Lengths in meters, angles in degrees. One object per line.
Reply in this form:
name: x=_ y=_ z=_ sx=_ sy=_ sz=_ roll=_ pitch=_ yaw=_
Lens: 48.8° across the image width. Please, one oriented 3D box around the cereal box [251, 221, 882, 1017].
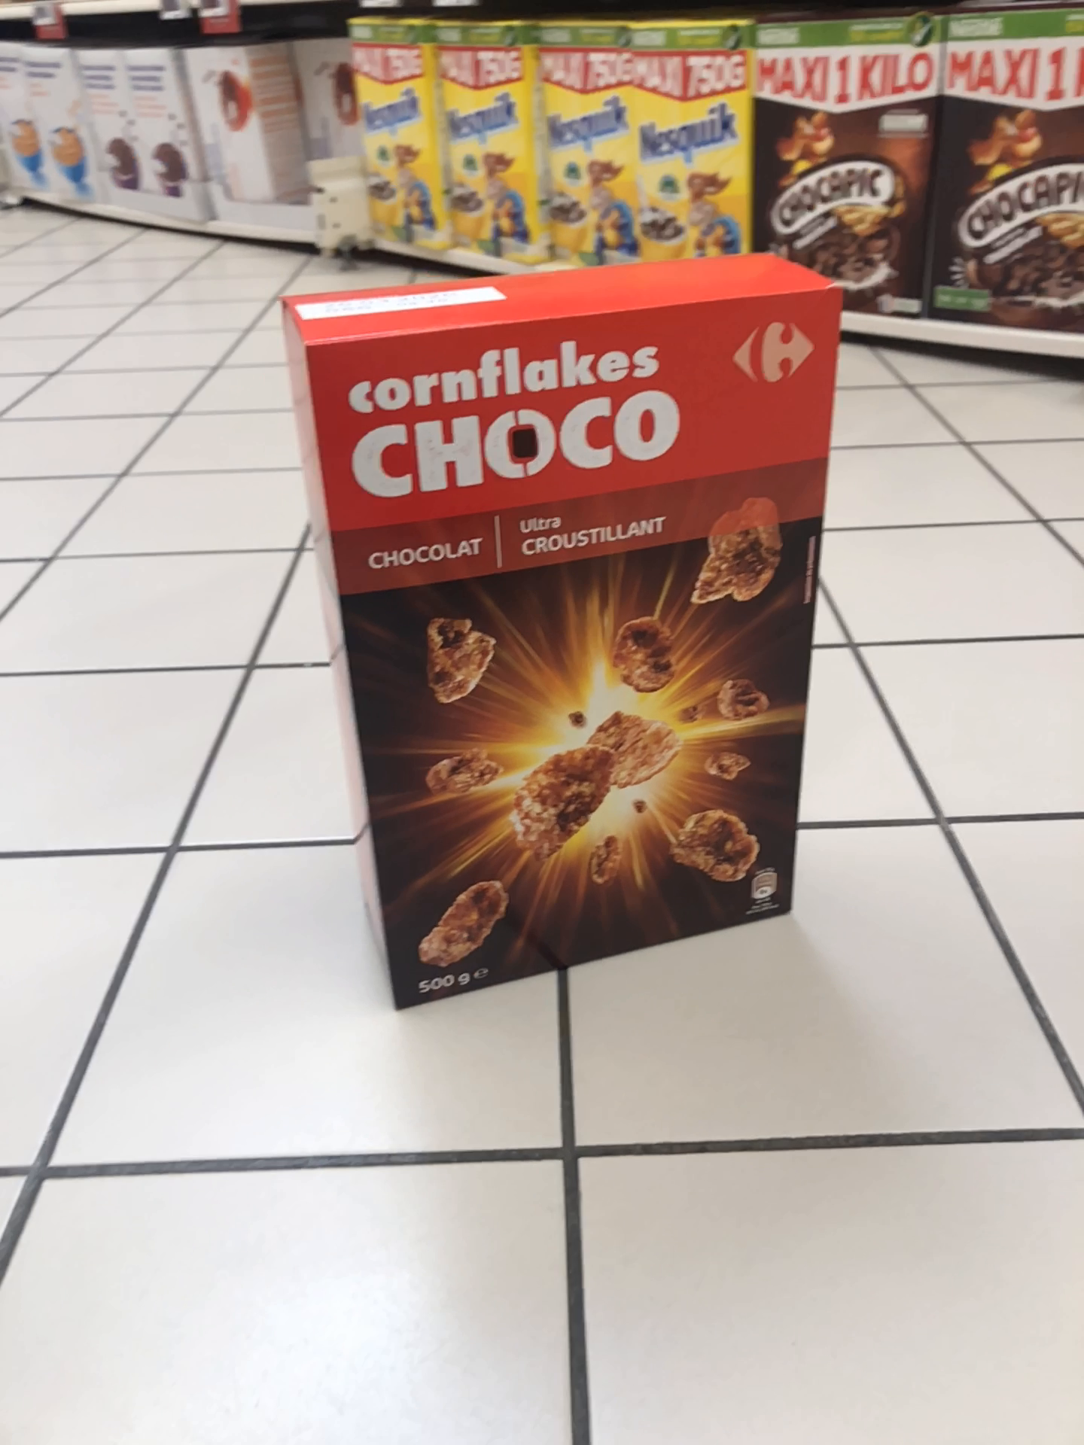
cereal box: x=0.010 y=-0.040 z=0.482 sx=0.200 sy=0.278 sz=0.090 roll=-11 pitch=31 yaw=-14
